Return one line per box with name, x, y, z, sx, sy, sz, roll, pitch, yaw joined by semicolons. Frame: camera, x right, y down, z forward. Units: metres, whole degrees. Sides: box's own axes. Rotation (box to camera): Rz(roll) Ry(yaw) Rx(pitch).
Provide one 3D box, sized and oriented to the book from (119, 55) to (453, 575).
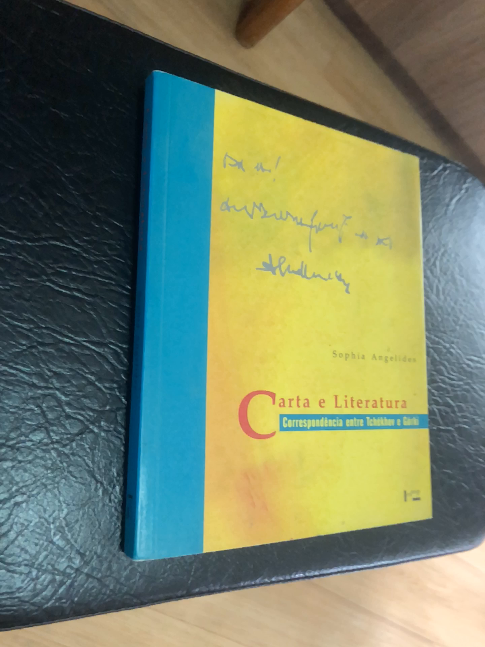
book;0.033;-0.001;0.267;0.173;0.024;0.208;5;82;-29
